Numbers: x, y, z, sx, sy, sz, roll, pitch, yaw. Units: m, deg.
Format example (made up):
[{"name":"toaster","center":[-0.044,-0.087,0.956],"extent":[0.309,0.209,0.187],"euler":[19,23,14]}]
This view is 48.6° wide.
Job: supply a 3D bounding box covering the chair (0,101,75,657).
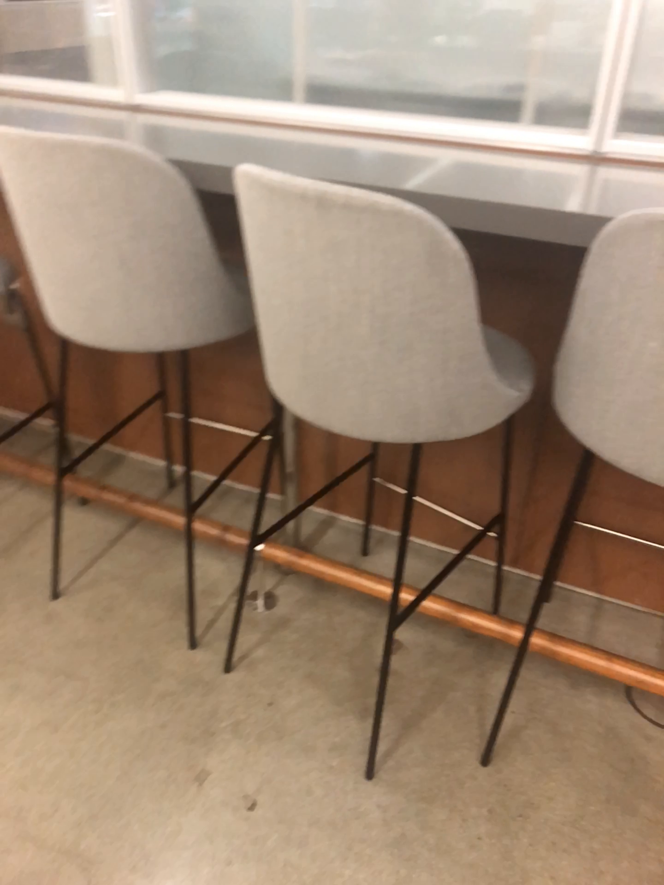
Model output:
[{"name":"chair","center":[-1.417,-0.181,2.283],"extent":[0.710,1.487,0.625],"euler":[13,34,17]}]
